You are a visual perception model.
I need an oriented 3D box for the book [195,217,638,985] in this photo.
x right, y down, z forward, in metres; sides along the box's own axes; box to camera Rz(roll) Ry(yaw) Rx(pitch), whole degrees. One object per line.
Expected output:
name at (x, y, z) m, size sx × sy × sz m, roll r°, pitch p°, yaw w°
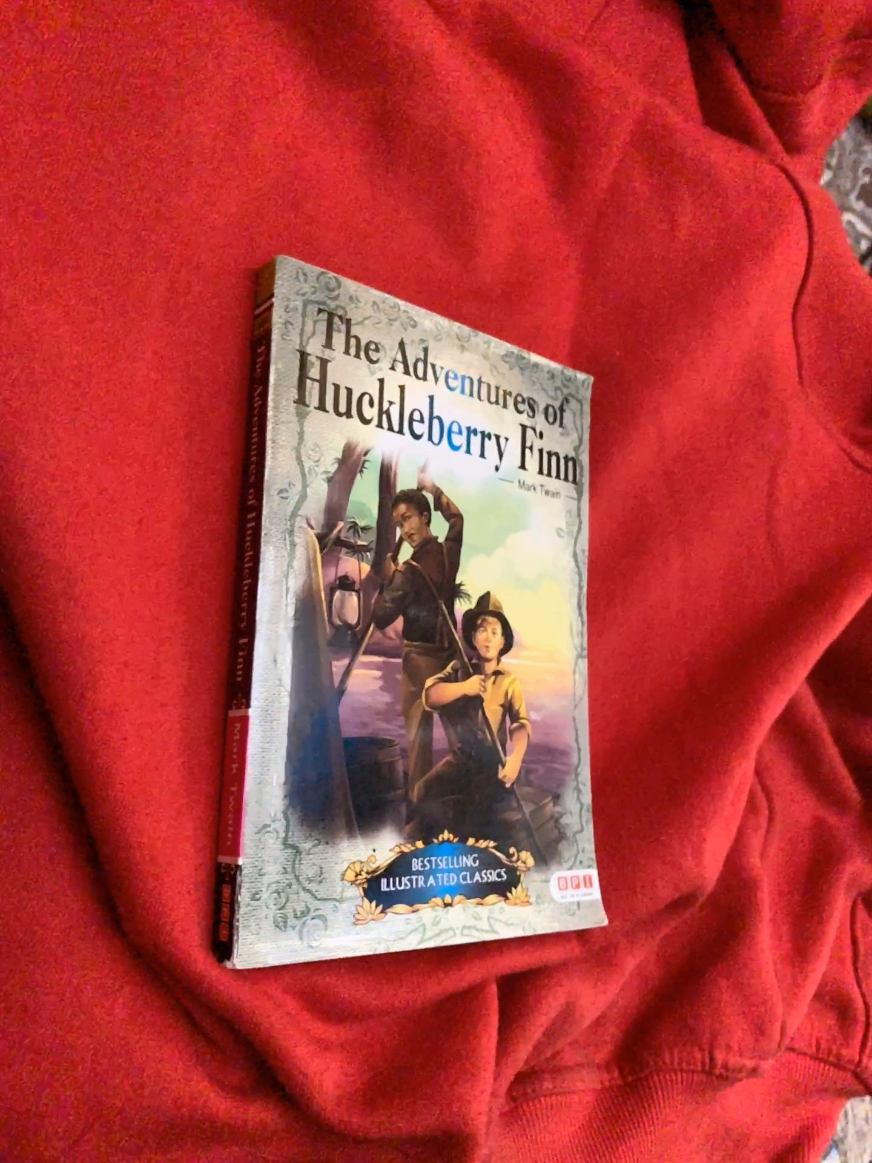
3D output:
book at (0.004, 0.007, 0.257) m, size 0.131 × 0.020 × 0.180 m, roll 10°, pitch 74°, yaw -38°
